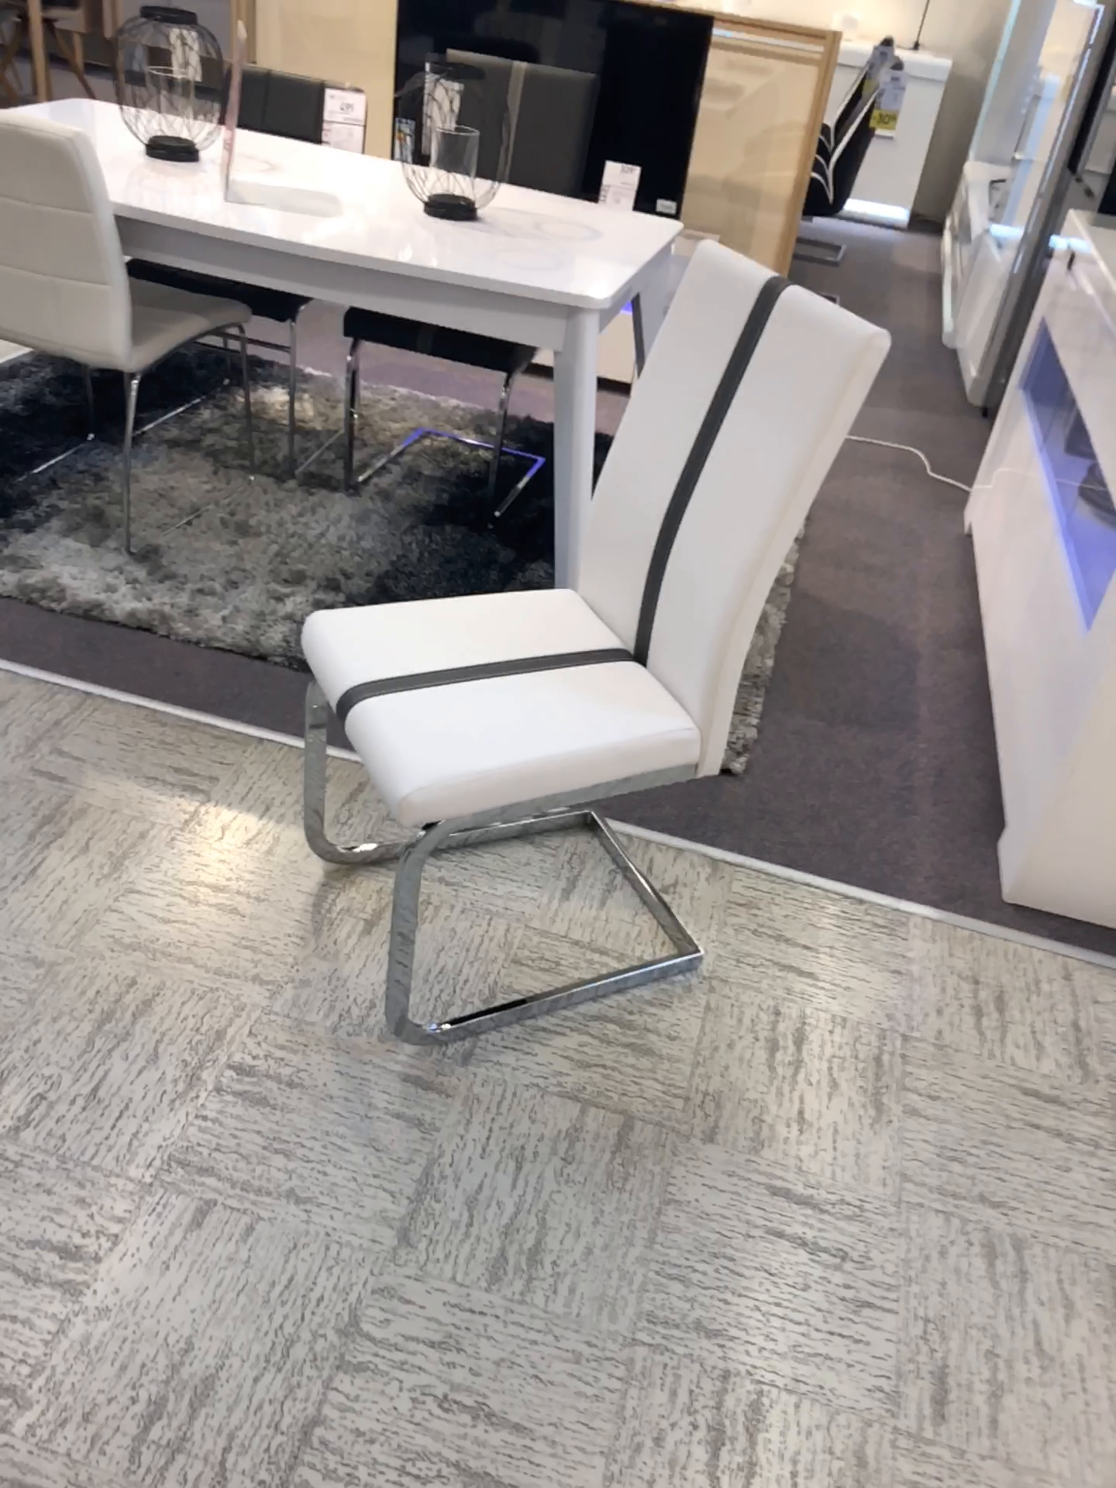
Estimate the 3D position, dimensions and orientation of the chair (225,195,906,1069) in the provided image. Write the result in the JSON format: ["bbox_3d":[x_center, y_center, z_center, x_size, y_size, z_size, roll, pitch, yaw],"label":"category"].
[{"bbox_3d":[-0.067,-0.141,1.511,0.571,0.877,0.489,-8,38,-23],"label":"chair"}]
